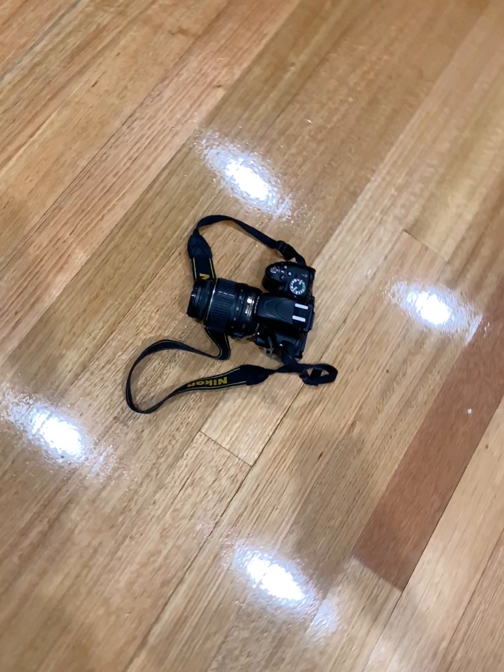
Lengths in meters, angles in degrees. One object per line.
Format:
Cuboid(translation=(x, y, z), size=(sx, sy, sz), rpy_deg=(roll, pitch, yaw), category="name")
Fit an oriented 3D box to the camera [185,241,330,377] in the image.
Cuboid(translation=(0.004, -0.030, 0.680), size=(0.160, 0.100, 0.130), rpy_deg=(11, 77, -6), category="camera")
